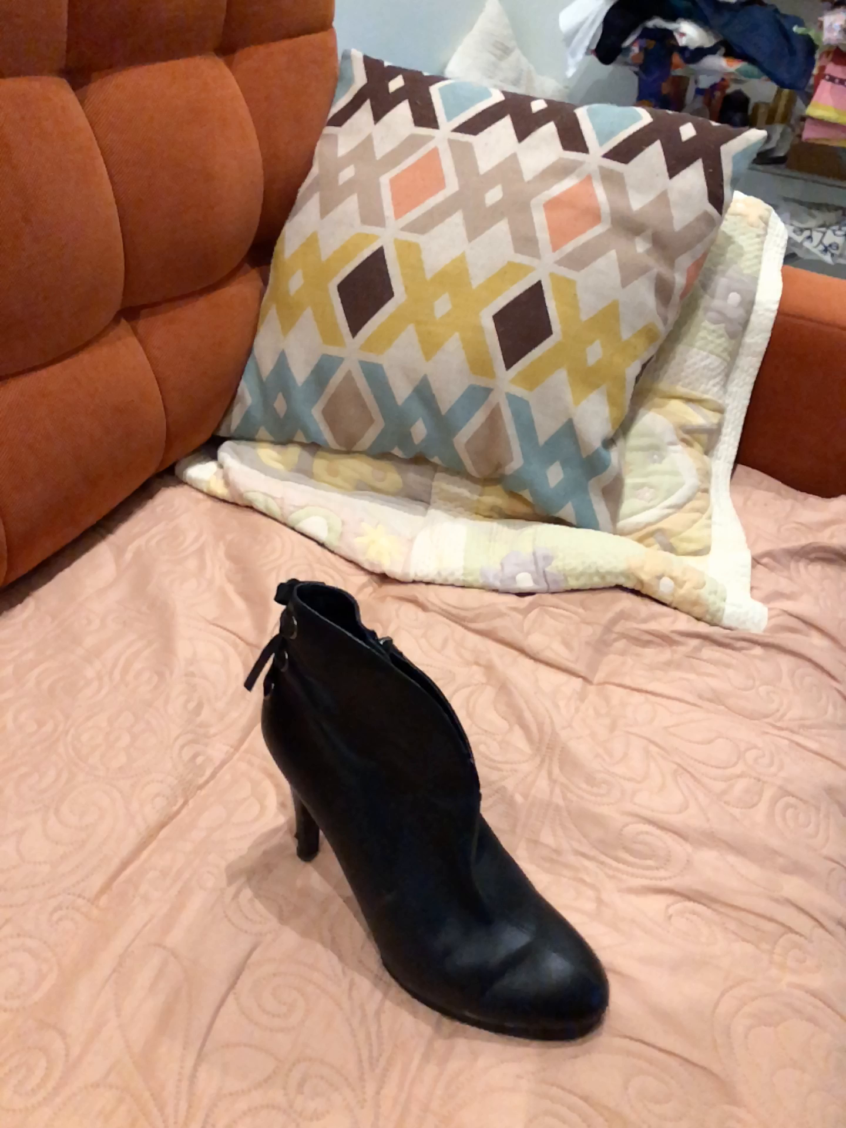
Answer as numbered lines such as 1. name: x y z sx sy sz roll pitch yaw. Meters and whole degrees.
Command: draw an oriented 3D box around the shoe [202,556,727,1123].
1. shoe: 0.007 0.128 0.464 0.220 0.169 0.096 25 38 23
